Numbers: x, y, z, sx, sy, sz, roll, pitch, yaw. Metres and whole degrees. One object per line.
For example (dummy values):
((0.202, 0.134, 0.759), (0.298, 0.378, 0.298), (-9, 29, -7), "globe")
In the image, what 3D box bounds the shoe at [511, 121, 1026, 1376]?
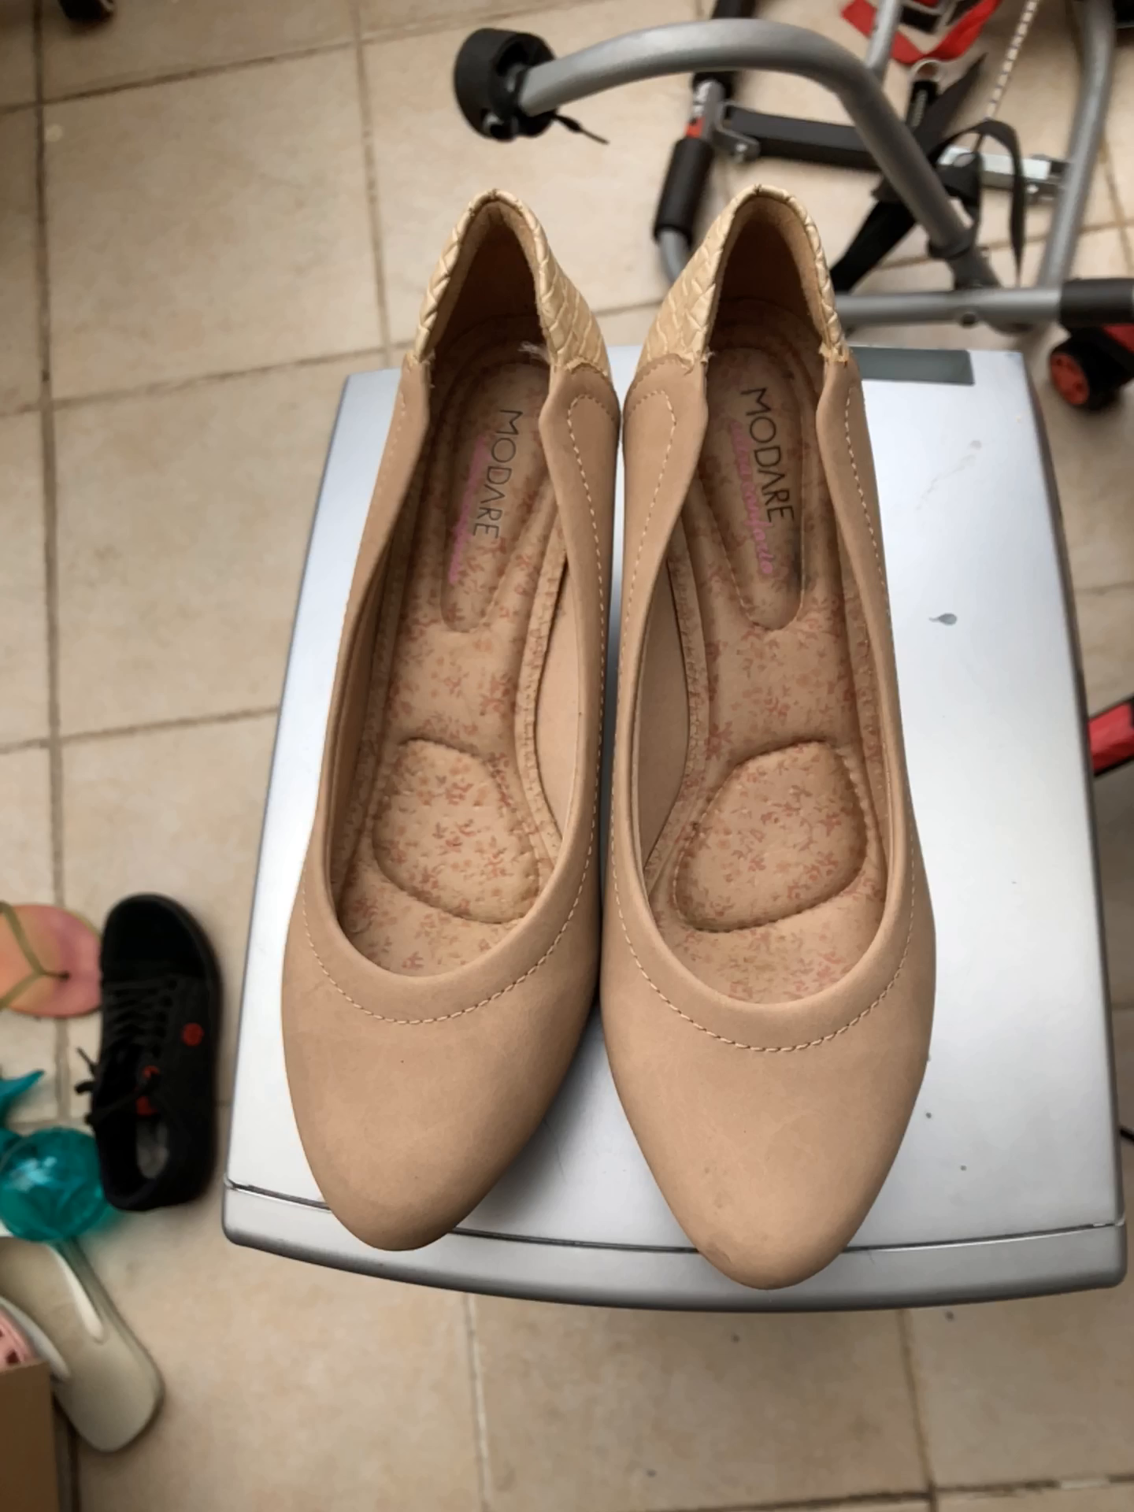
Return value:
((0.046, -0.002, 0.305), (0.090, 0.120, 0.244), (0, 79, 8), "shoe")

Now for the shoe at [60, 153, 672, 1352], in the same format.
((-0.033, -0.003, 0.316), (0.090, 0.120, 0.244), (4, 79, 9), "shoe")
